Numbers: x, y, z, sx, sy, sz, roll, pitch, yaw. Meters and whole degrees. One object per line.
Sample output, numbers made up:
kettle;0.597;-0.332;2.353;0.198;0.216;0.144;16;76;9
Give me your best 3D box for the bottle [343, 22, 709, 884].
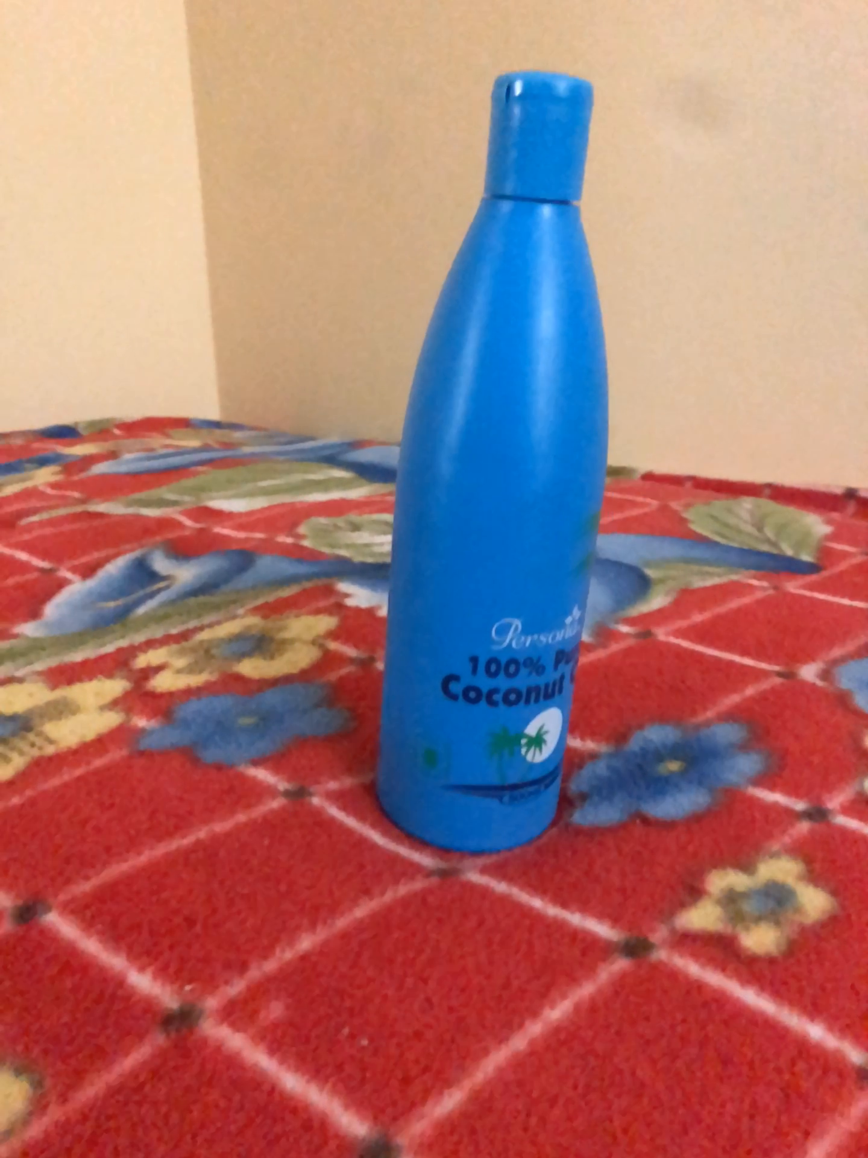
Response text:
bottle;0.021;-0.032;0.299;0.070;0.229;0.070;1;20;0
